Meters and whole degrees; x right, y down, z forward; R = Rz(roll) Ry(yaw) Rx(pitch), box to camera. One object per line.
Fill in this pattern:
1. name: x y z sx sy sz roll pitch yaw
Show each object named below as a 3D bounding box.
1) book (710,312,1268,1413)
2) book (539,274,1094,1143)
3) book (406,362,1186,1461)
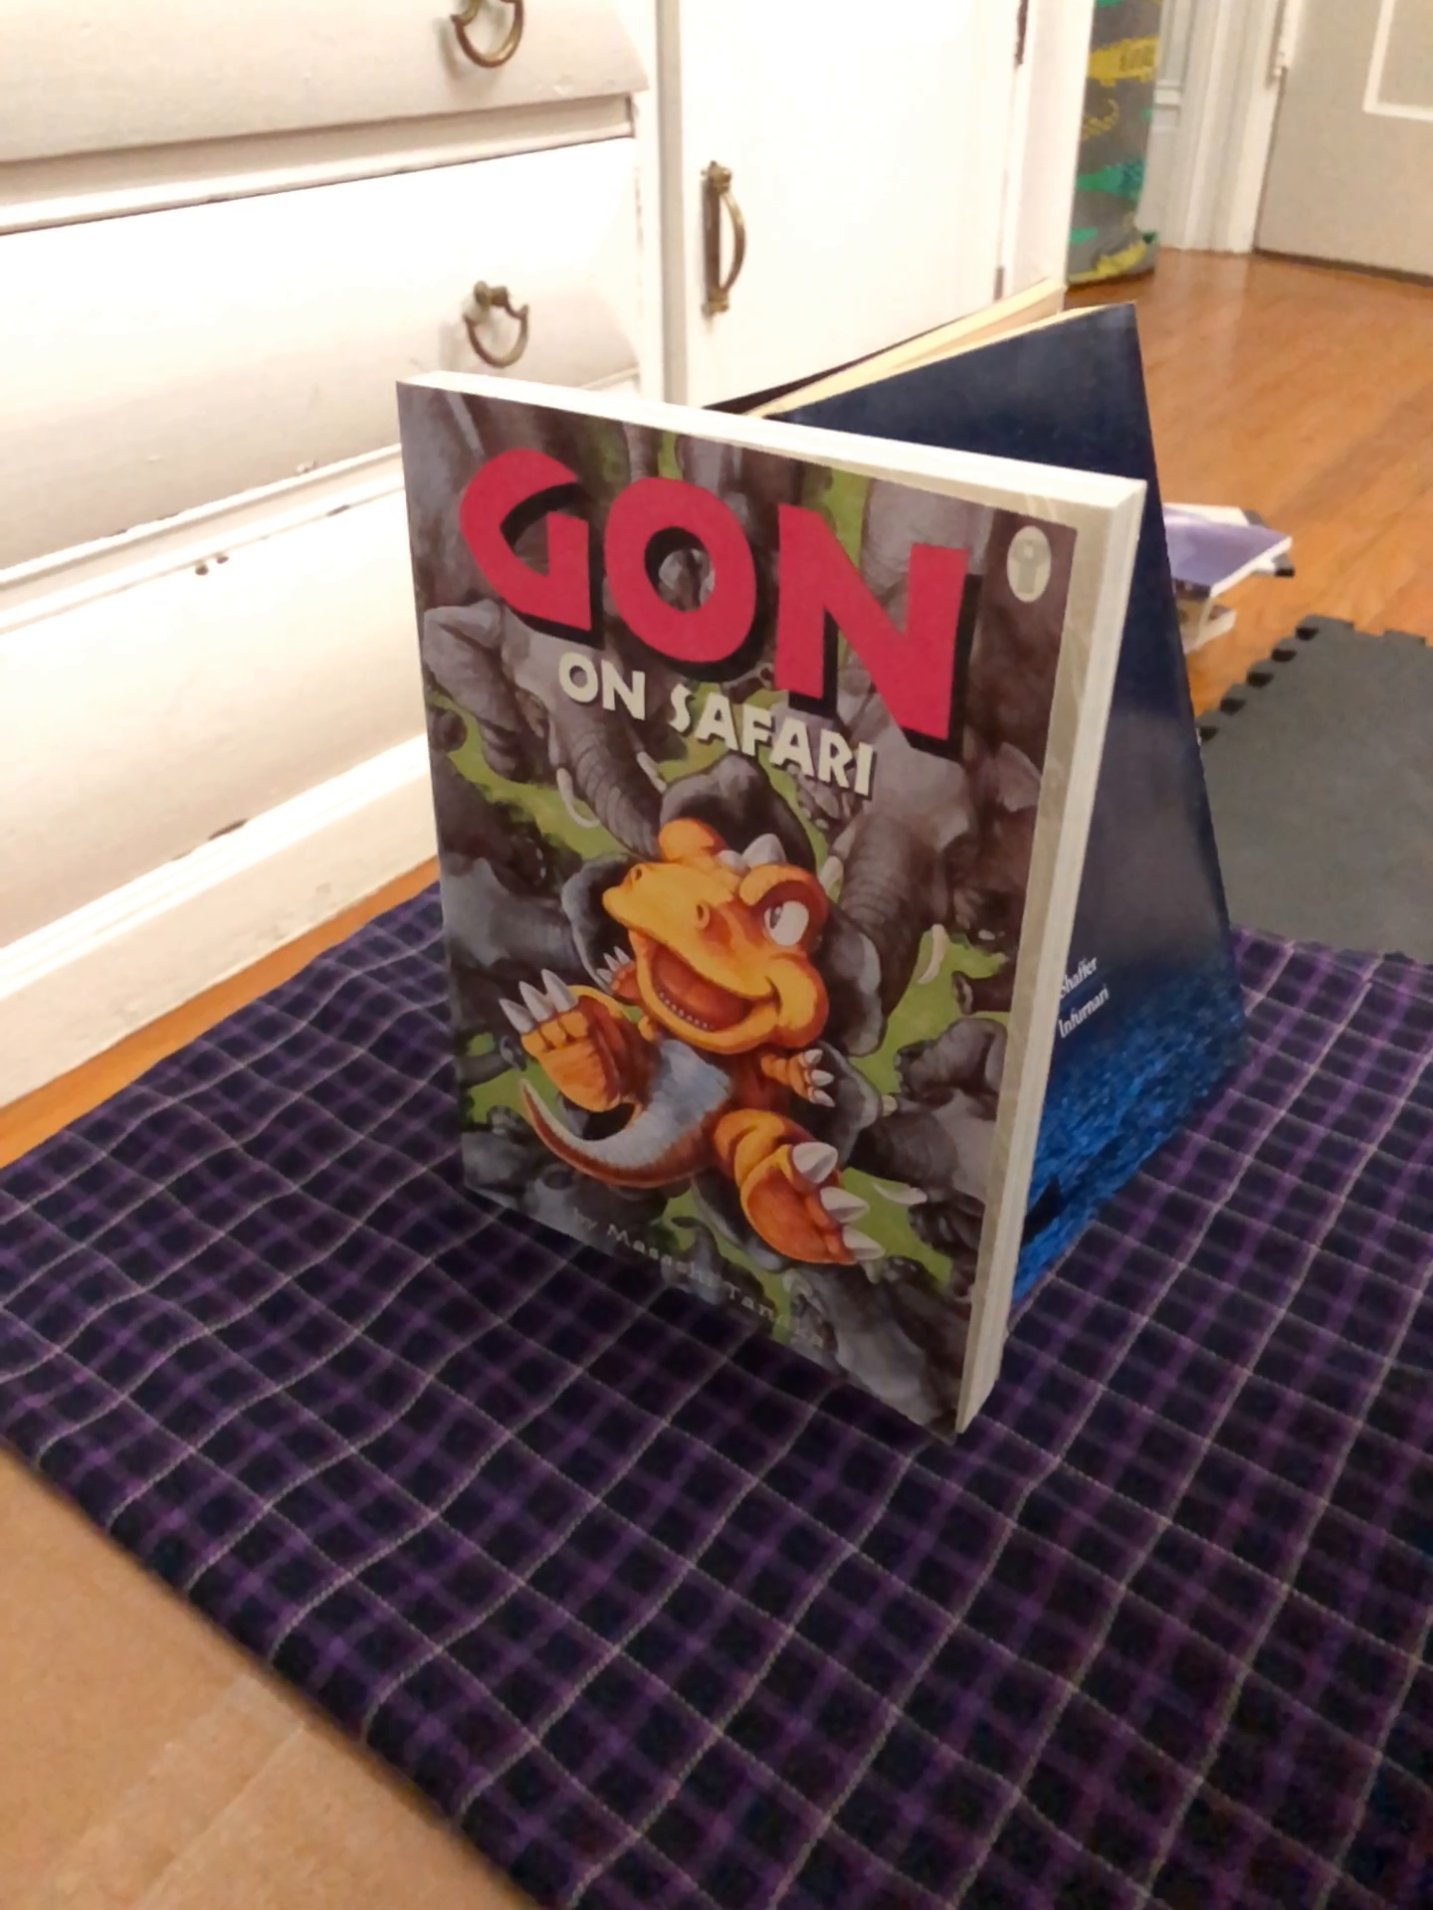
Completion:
1. book: 0.075 -0.027 0.352 0.010 0.199 0.151 0 25 41
2. book: 0.021 -0.056 0.393 0.010 0.199 0.141 34 44 15
3. book: 0.003 -0.007 0.310 0.140 0.189 0.020 18 31 27
